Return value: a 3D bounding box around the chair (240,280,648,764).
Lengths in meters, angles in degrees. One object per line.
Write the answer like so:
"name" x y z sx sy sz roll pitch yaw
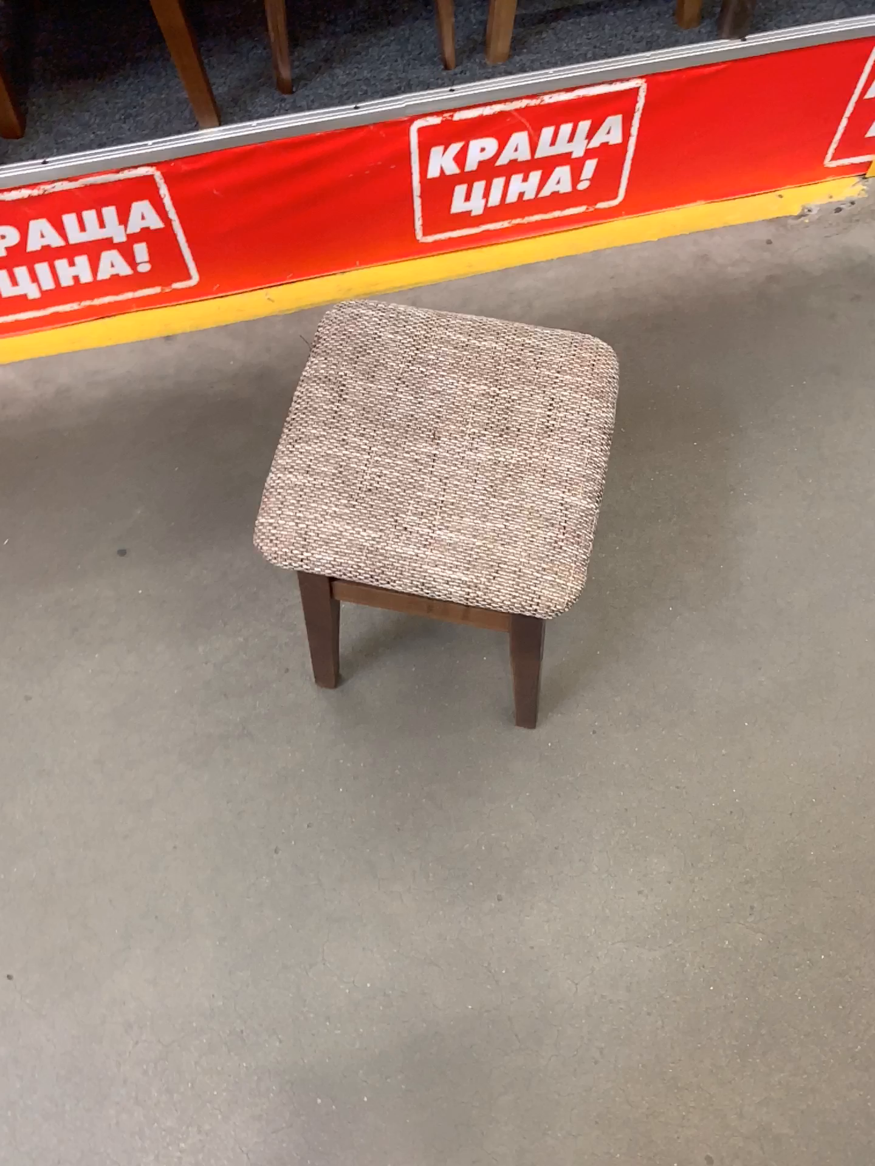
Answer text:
"chair" 0.022 -0.042 1.114 0.340 0.479 0.360 11 66 6
